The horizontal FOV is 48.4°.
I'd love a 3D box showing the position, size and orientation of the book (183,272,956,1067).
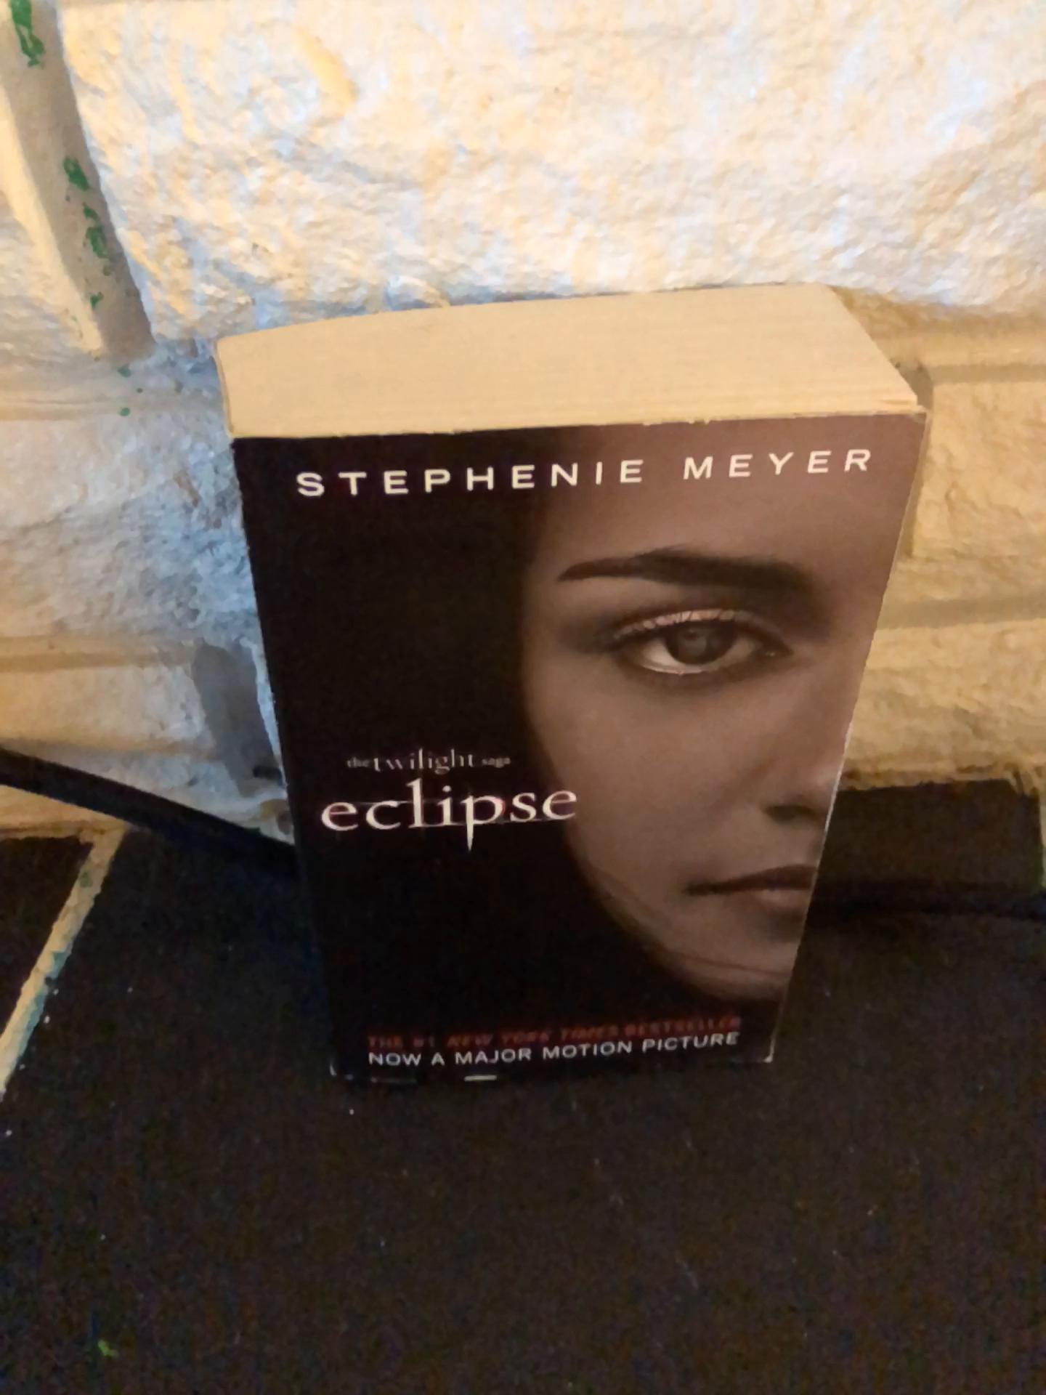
[{"bbox_3d":[0.007,0.011,0.237,0.106,0.181,0.042,0,44,1],"label":"book"}]
